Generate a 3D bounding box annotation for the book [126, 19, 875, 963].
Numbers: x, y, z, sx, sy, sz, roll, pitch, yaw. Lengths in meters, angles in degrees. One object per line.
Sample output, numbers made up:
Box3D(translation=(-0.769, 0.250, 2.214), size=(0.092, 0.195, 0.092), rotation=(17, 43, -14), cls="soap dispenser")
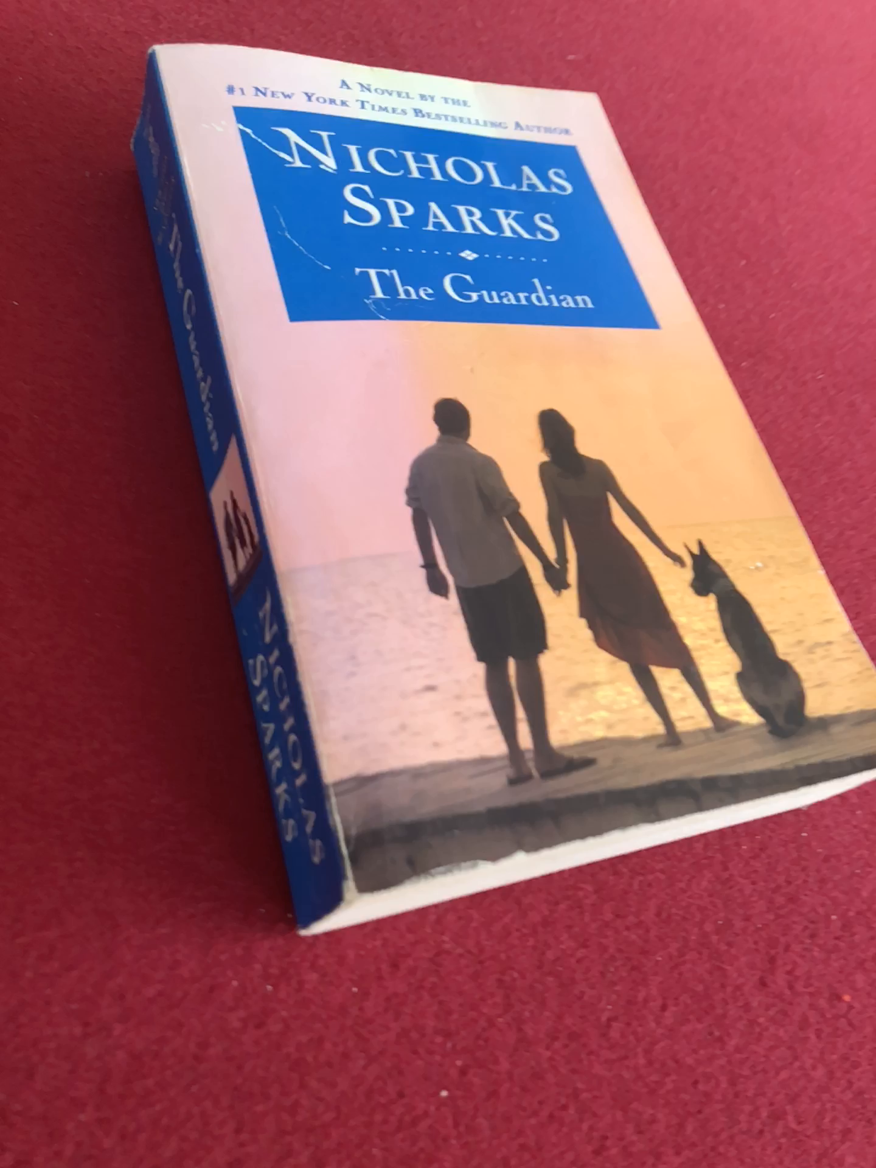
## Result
Box3D(translation=(0.010, -0.031, 0.186), size=(0.110, 0.030, 0.170), rotation=(-5, 62, -25), cls="book")
